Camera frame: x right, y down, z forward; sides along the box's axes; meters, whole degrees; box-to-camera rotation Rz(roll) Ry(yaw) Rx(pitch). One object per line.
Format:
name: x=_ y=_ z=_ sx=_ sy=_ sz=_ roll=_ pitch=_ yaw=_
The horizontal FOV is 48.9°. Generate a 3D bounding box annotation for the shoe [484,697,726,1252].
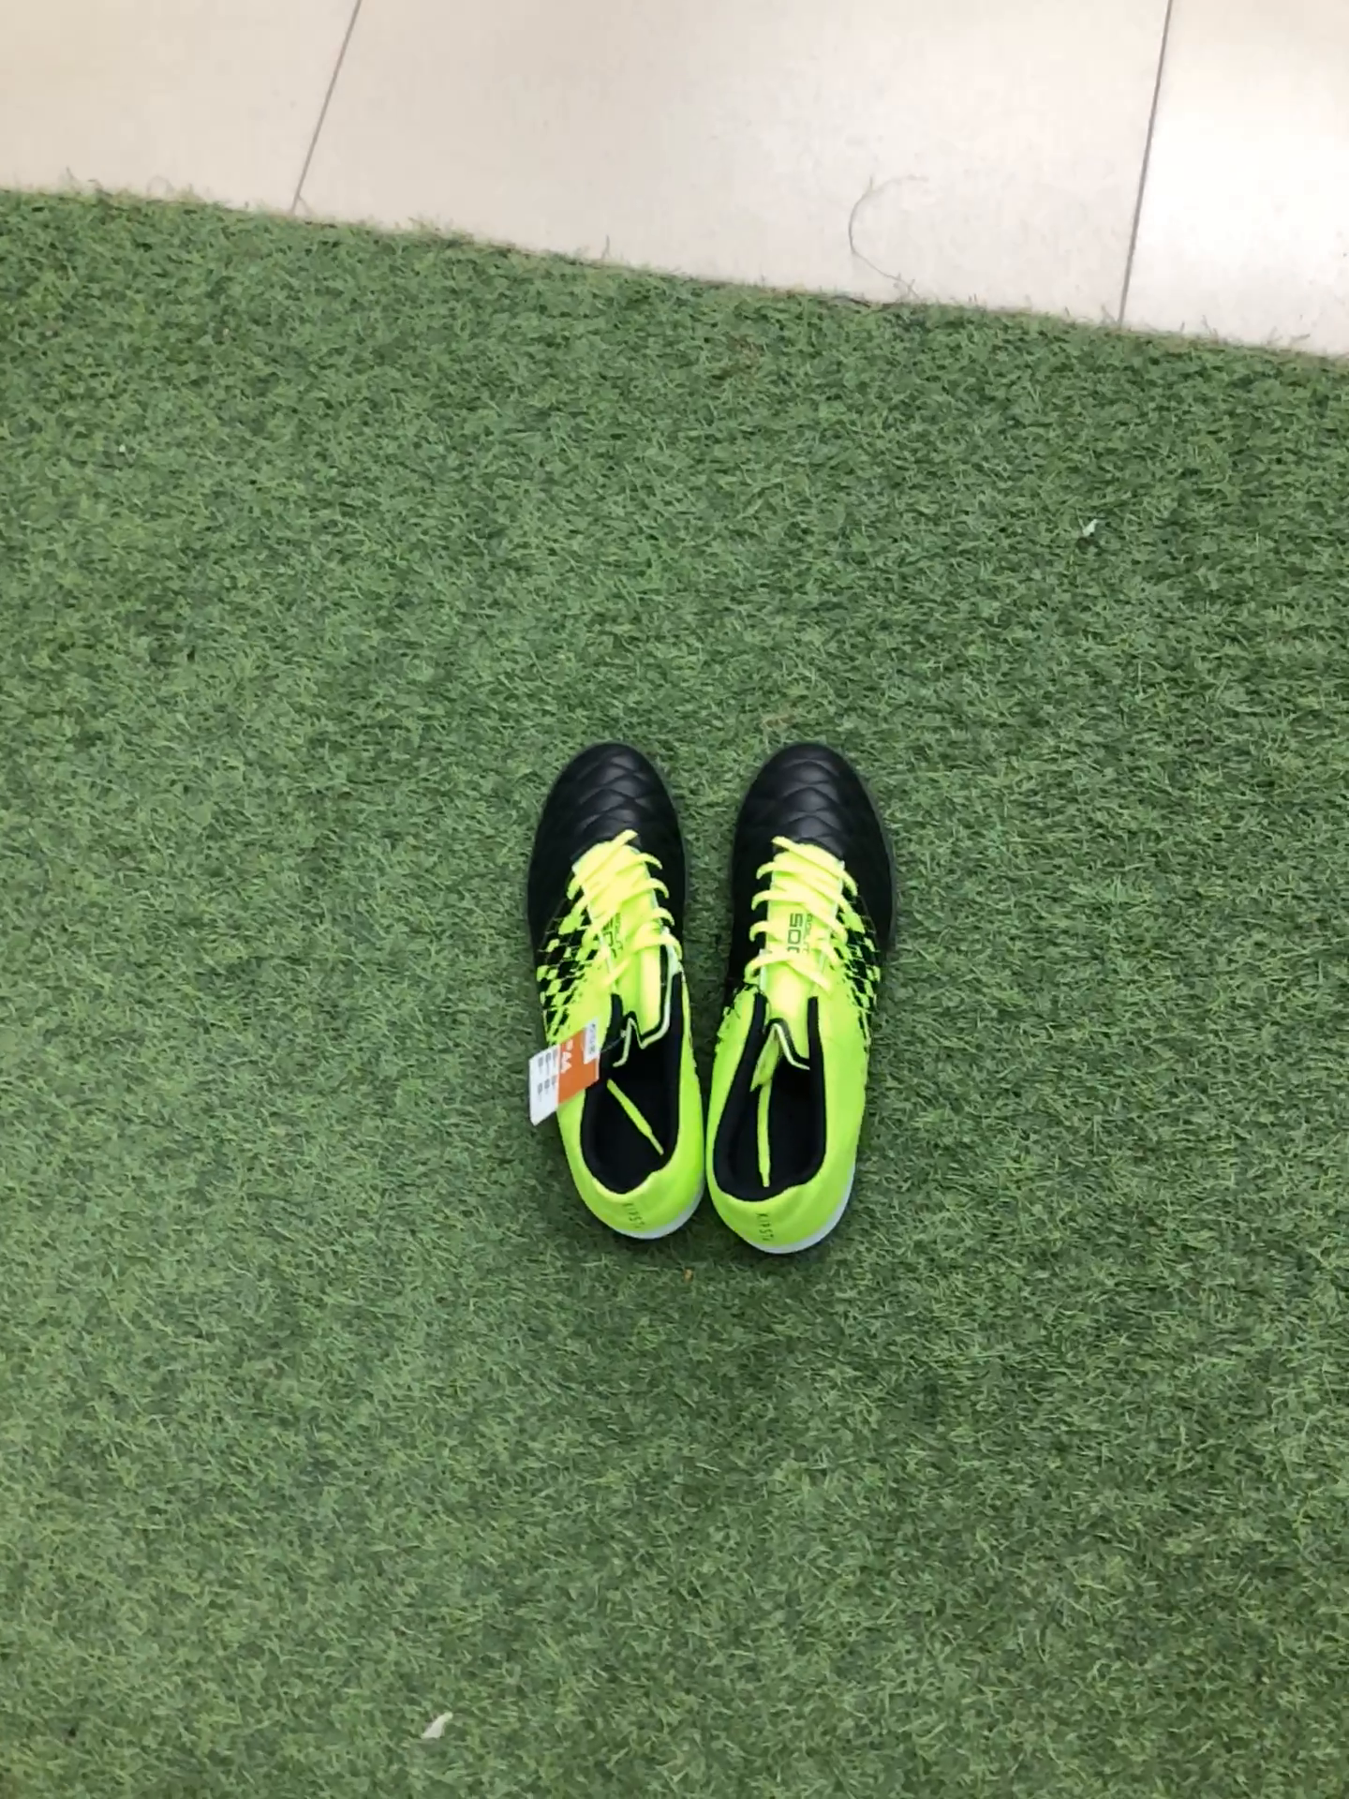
shoe: x=-0.038 y=0.042 z=0.810 sx=0.100 sy=0.090 sz=0.281 roll=-6 pitch=73 yaw=7

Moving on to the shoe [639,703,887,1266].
shoe: x=0.053 y=0.045 z=0.791 sx=0.100 sy=0.090 sz=0.281 roll=4 pitch=74 yaw=9
